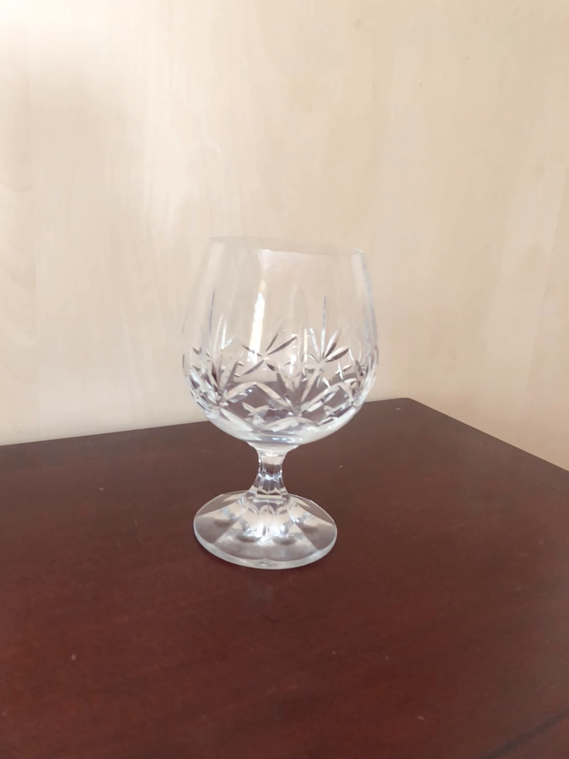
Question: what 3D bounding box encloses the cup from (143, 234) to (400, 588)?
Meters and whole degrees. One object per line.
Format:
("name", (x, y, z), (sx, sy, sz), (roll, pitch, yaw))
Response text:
("cup", (-0.004, 0.005, 0.275), (0.087, 0.126, 0.089), (4, 14, -1))
